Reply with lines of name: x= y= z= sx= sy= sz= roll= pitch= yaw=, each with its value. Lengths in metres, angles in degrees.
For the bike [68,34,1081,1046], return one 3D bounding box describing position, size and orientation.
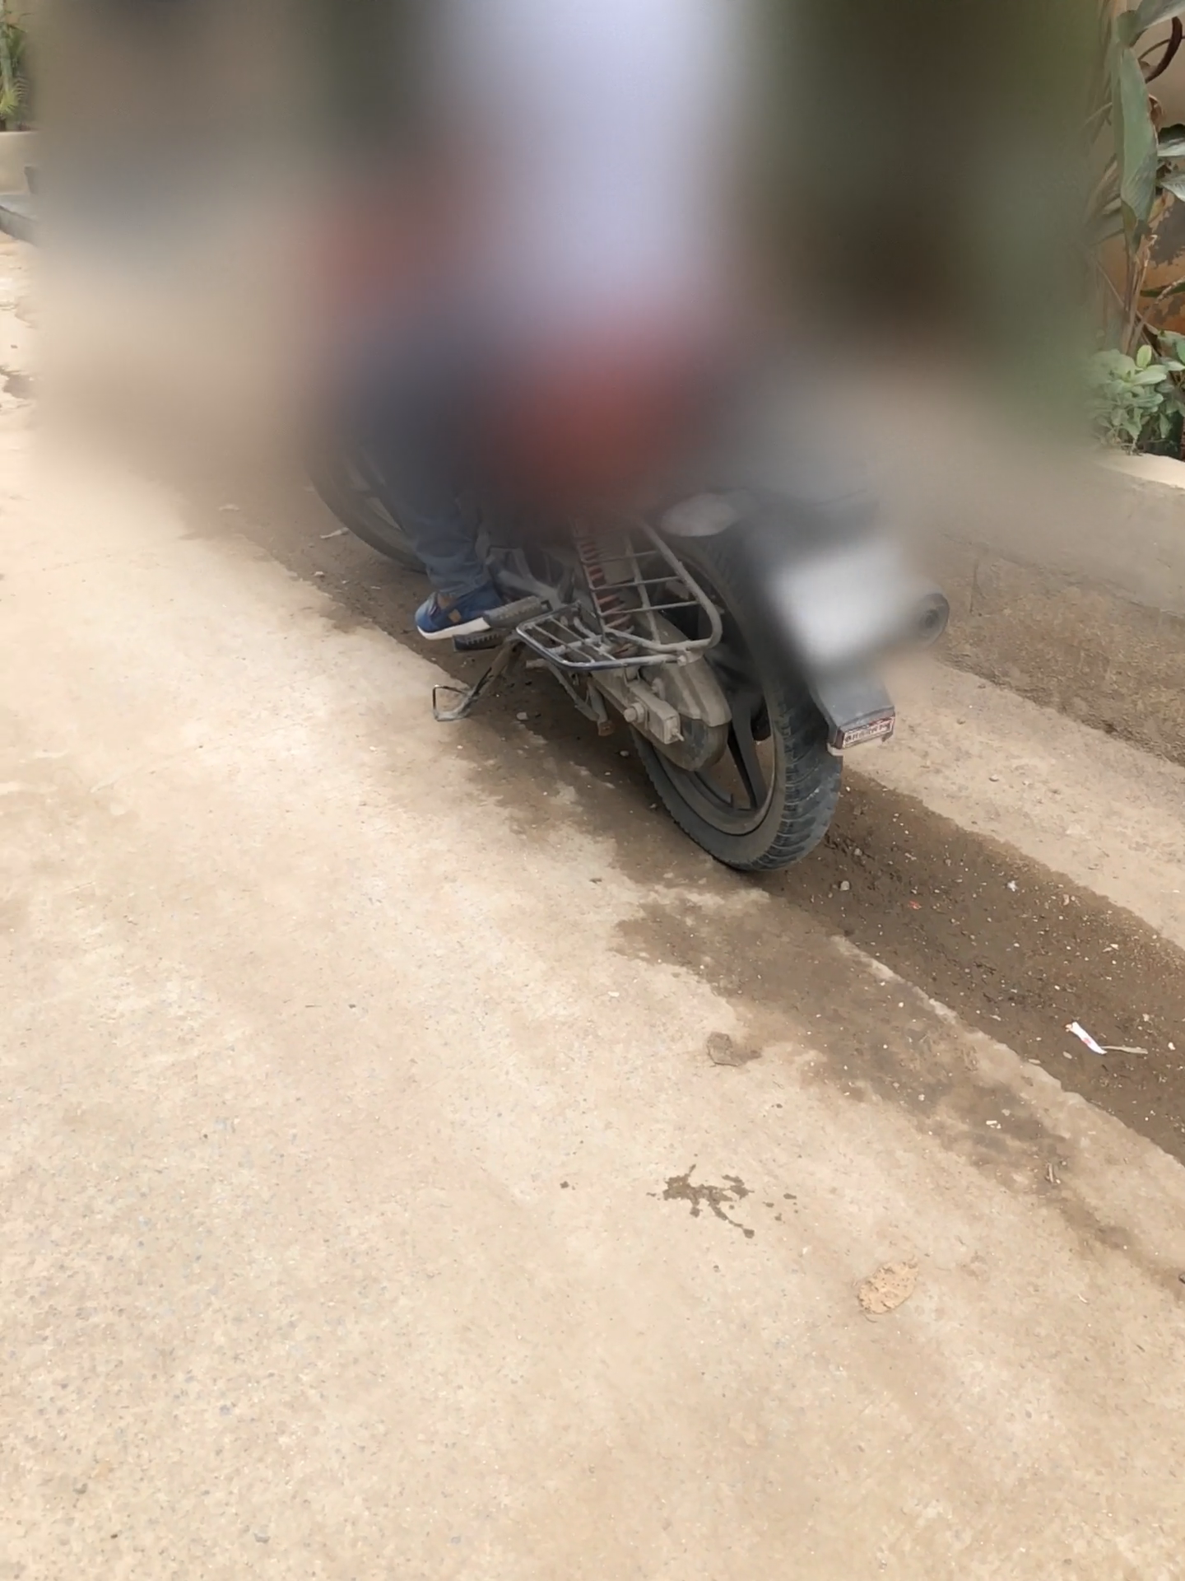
bike: x=-0.217 y=-0.634 z=2.366 sx=0.692 sy=1.207 sz=1.793 roll=-19 pitch=37 yaw=-29
